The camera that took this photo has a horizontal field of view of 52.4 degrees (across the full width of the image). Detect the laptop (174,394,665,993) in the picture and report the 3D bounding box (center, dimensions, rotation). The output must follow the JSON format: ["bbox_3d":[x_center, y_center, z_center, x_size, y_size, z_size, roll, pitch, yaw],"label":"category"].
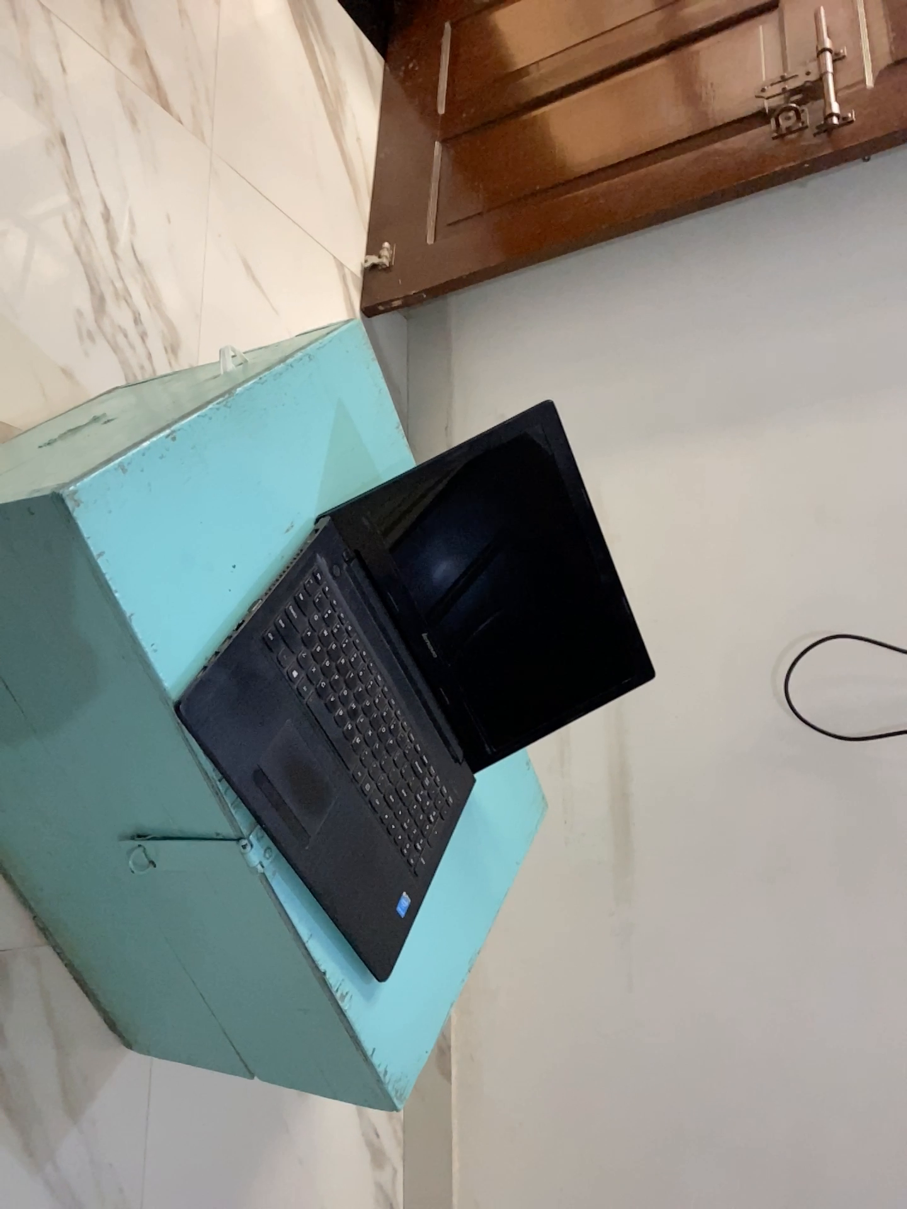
[{"bbox_3d":[0.019,0.078,0.906,0.371,0.190,0.424,64,37,-30],"label":"laptop"}]
